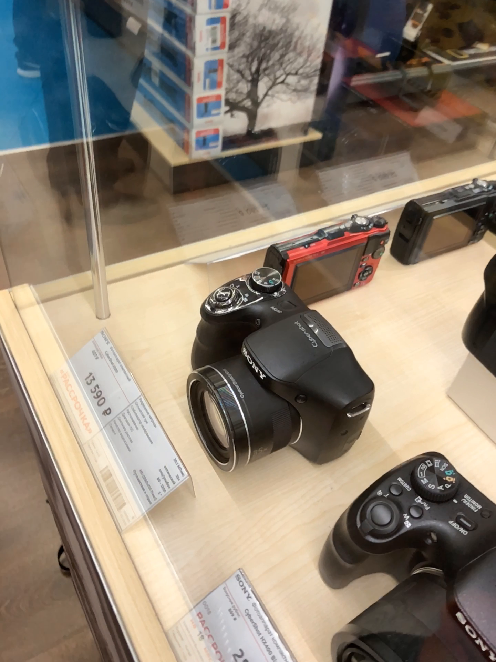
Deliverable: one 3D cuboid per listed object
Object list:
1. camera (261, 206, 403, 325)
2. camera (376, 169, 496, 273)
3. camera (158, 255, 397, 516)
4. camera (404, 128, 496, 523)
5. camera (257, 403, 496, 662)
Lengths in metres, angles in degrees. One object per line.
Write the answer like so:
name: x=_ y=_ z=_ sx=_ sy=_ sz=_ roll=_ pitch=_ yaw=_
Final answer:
camera: x=0.068 y=-0.055 z=0.452 sx=0.111 sy=0.069 sz=0.026 roll=-21 pitch=52 yaw=-26
camera: x=0.177 y=-0.101 z=0.502 sx=0.111 sy=0.069 sz=0.026 roll=-18 pitch=51 yaw=-25
camera: x=0.010 y=0.029 z=0.354 sx=0.092 sy=0.078 sz=0.124 roll=-18 pitch=51 yaw=-24
camera: x=0.209 y=-0.017 z=0.311 sx=0.132 sy=0.106 sz=0.169 roll=-20 pitch=51 yaw=-26
camera: x=0.095 y=0.131 z=0.265 sx=0.125 sy=0.097 sz=0.124 roll=-18 pitch=51 yaw=-25
